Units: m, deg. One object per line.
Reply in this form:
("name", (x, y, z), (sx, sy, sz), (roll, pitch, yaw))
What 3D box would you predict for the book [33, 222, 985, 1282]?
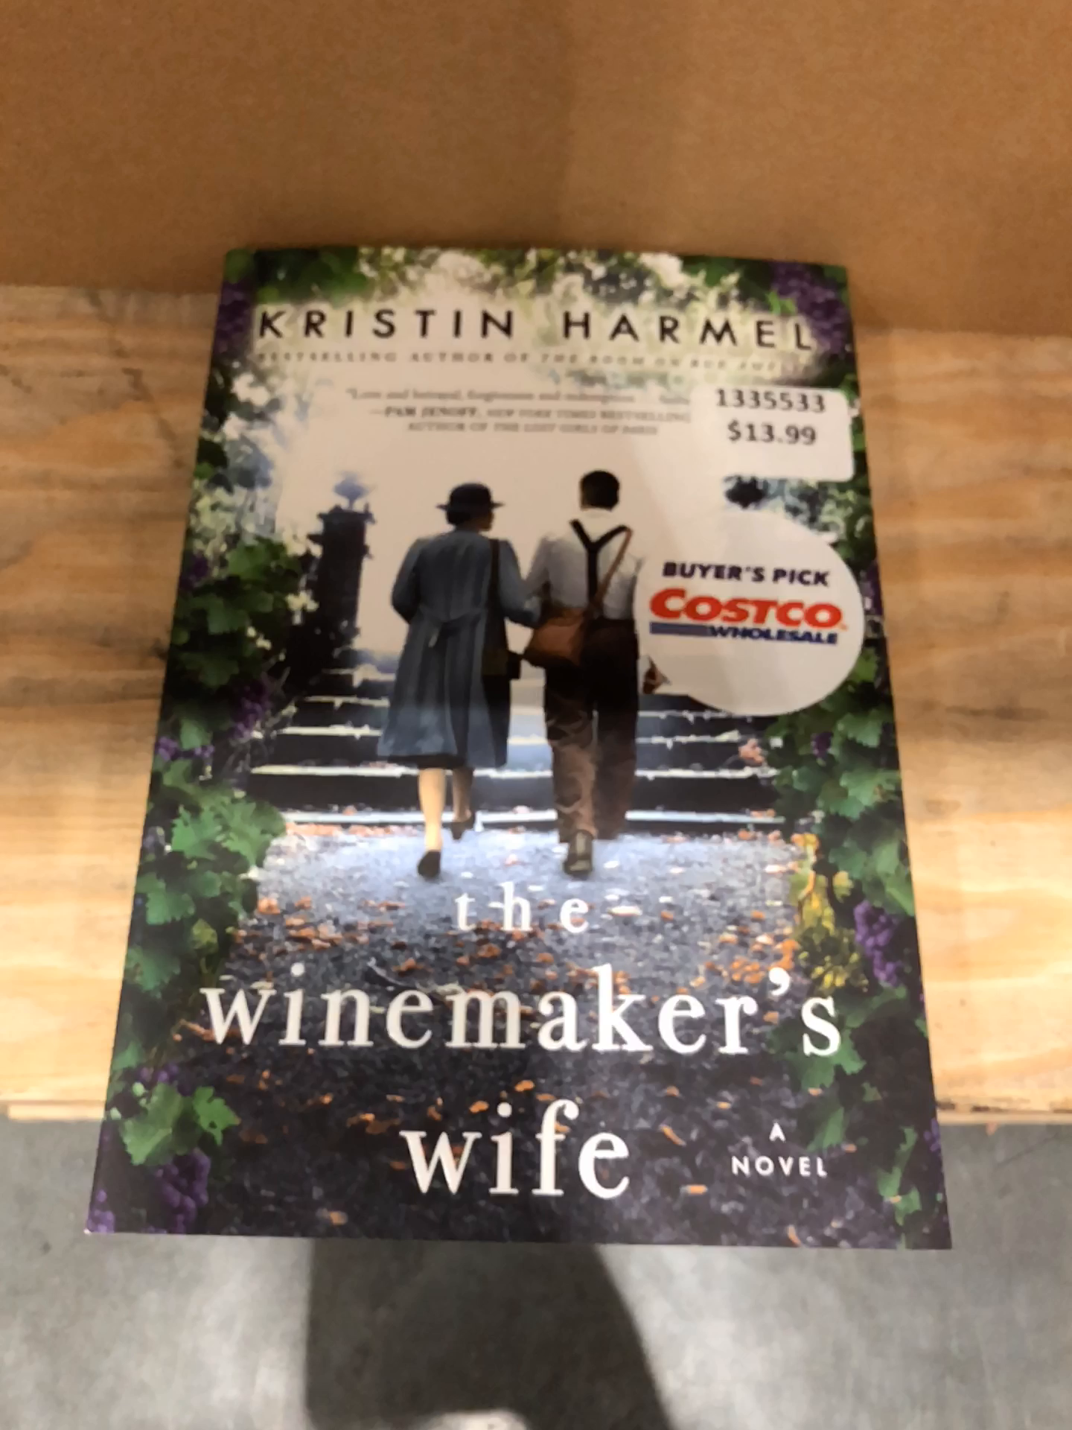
("book", (-0.001, -0.007, 0.261), (0.154, 0.035, 0.229), (2, 65, 0))
